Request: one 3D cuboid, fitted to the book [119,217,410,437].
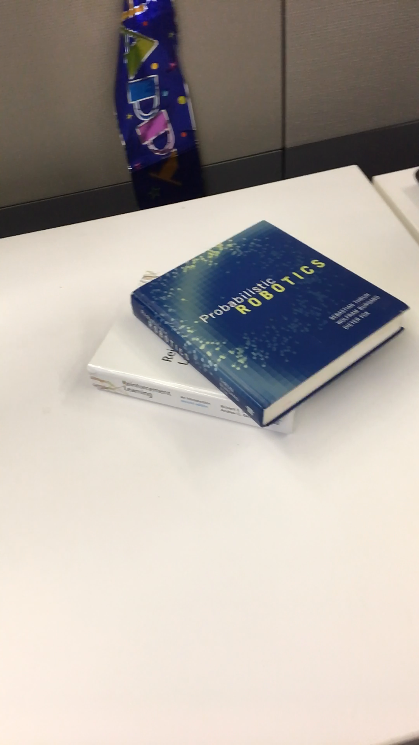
[{"bbox_3d":[0.055,-0.067,0.690,0.210,0.030,0.240,-33,53,-22],"label":"book"}]

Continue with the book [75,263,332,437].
[{"bbox_3d":[-0.001,-0.037,0.714,0.240,0.030,0.190,12,51,17],"label":"book"}]
